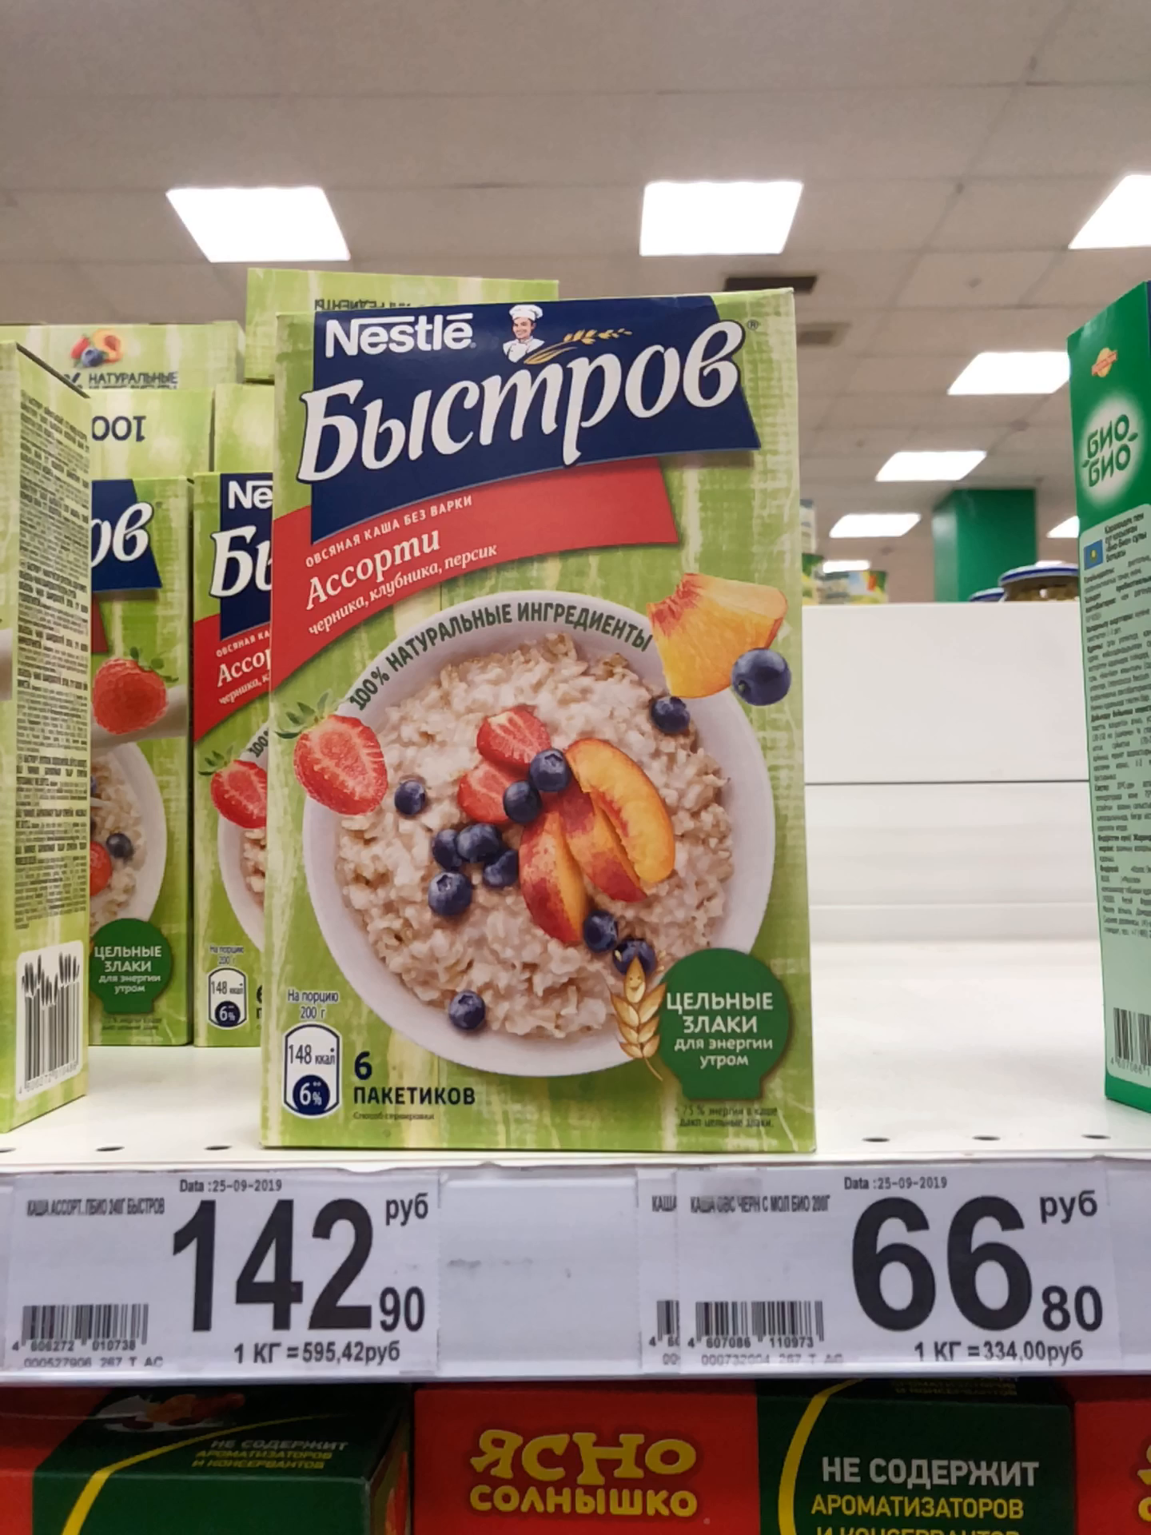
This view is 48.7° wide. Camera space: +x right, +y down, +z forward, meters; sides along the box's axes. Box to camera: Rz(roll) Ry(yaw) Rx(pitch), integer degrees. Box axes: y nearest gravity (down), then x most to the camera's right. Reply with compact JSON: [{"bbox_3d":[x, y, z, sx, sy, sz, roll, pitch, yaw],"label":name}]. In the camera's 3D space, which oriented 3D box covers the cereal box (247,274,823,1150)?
[{"bbox_3d":[-0.009,-0.013,0.320,0.130,0.200,0.050,-1,-6,7],"label":"cereal box"}]
